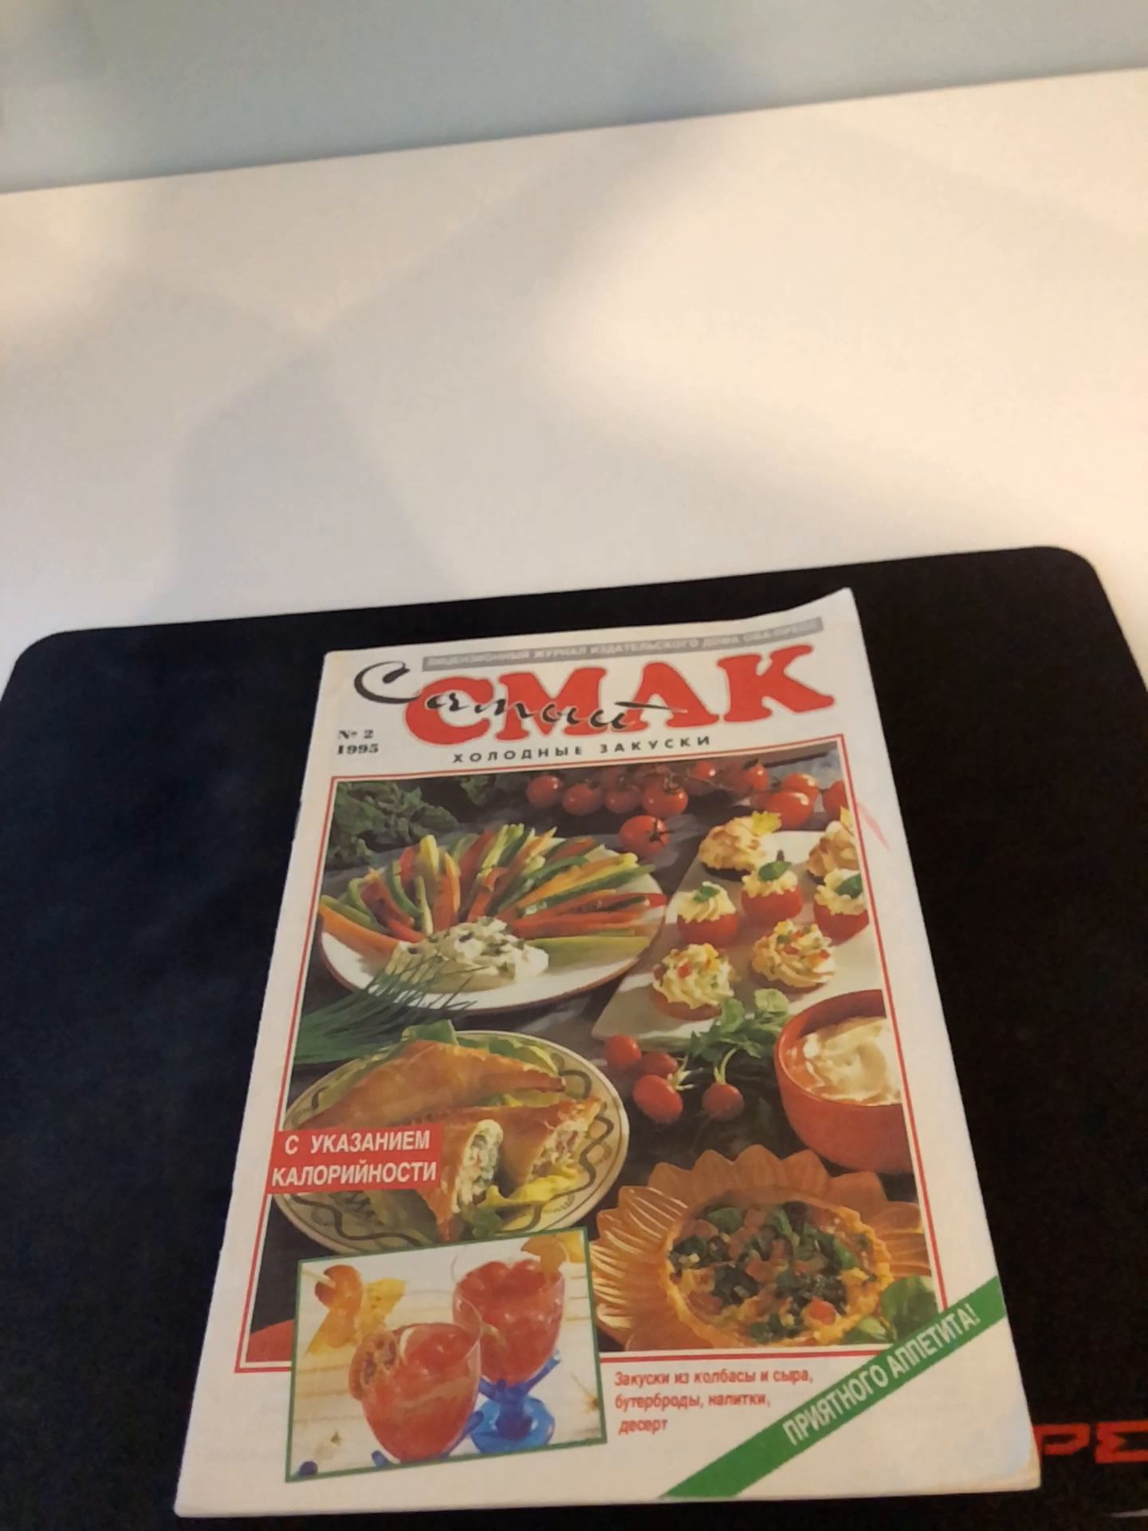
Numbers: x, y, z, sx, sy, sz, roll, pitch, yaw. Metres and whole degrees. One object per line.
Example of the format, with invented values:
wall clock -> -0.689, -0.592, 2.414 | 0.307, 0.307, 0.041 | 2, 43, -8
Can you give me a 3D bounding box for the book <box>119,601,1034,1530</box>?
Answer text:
book -> -0.003, 0.051, 0.299 | 0.160, 0.010, 0.231 | -5, 50, 4
